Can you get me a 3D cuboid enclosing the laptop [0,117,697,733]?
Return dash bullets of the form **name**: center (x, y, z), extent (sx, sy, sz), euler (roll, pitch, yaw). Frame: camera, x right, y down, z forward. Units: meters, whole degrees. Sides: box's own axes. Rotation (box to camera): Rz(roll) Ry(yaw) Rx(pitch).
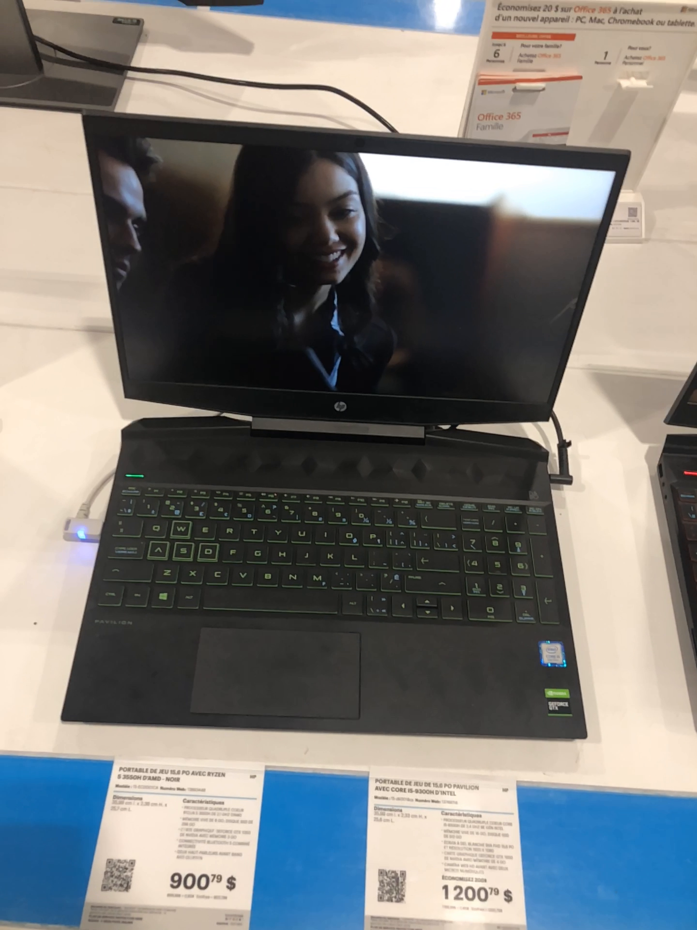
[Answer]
- **laptop**: center (-0.005, -0.018, 0.511), extent (0.355, 0.232, 0.317), euler (3, 56, -4)
